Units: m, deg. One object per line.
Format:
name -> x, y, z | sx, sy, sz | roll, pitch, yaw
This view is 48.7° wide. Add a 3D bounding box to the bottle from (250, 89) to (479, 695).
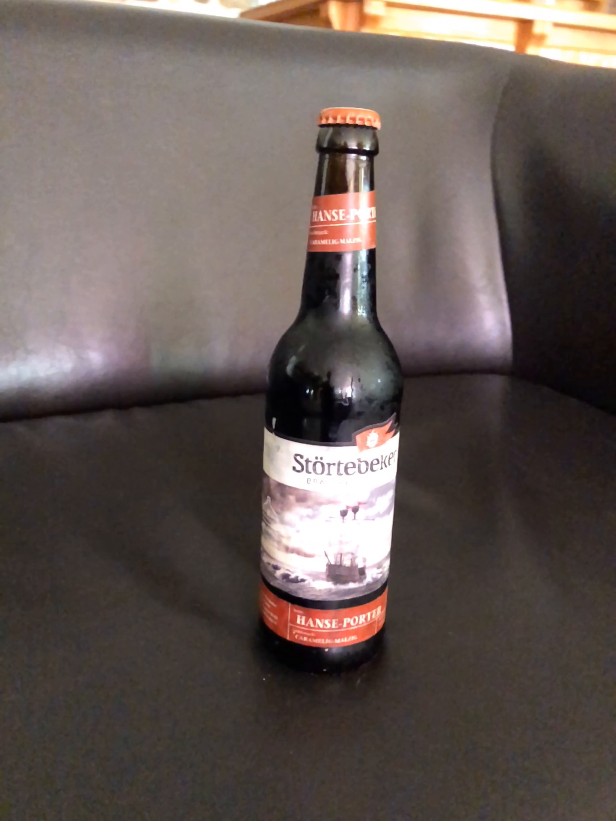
bottle -> 0.016, -0.001, 0.342 | 0.080, 0.279, 0.080 | 3, 18, -1
